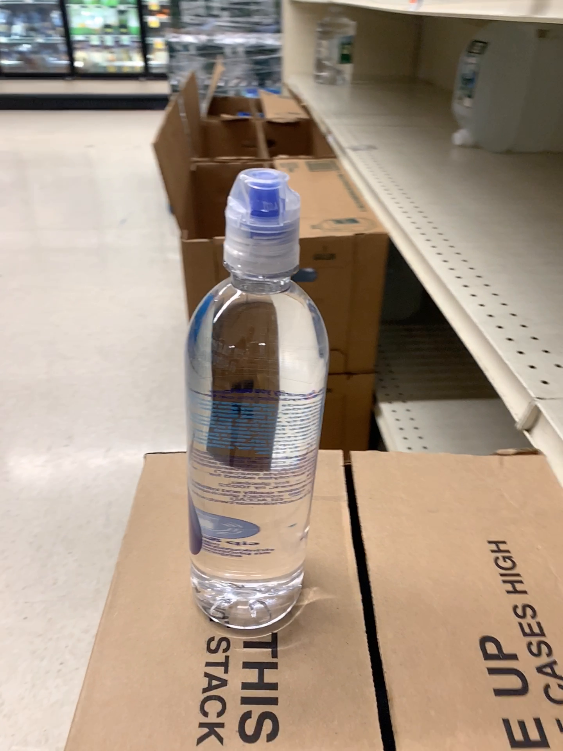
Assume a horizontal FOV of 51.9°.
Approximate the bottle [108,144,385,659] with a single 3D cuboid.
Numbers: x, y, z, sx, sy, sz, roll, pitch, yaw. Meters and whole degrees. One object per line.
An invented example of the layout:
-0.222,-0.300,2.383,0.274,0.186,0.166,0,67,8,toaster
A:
-0.010,0.025,0.291,0.090,0.249,0.091,0,33,0,bottle
